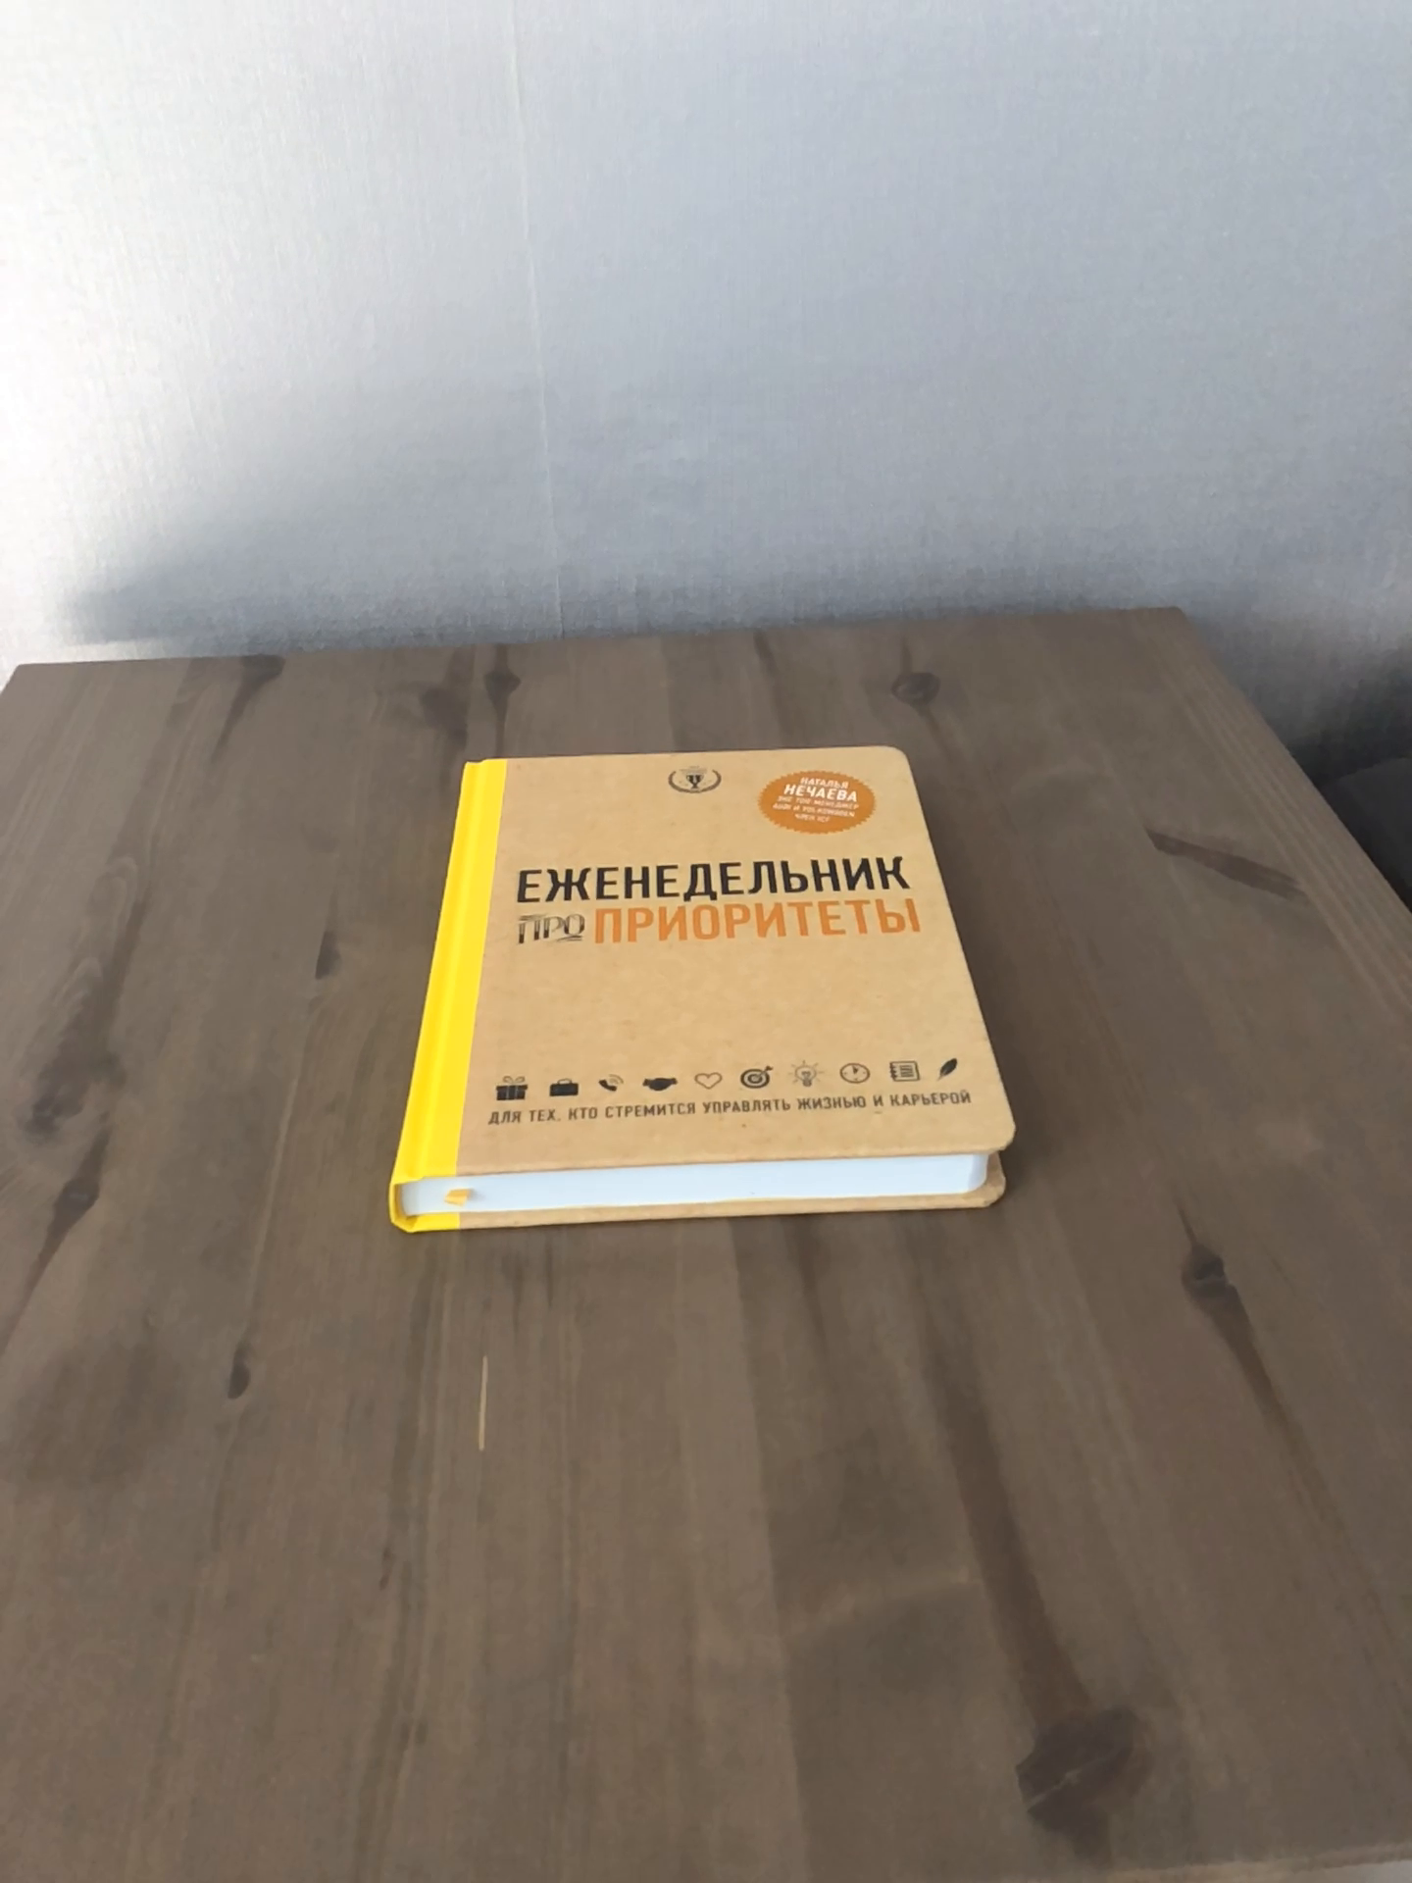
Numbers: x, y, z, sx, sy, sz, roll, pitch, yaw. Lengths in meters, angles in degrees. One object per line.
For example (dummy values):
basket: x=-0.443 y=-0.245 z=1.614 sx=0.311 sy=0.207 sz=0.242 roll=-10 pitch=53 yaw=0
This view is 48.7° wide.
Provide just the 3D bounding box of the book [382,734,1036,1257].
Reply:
book: x=-0.004 y=0.004 z=0.530 sx=0.180 sy=0.032 sz=0.230 roll=-3 pitch=37 yaw=-2
